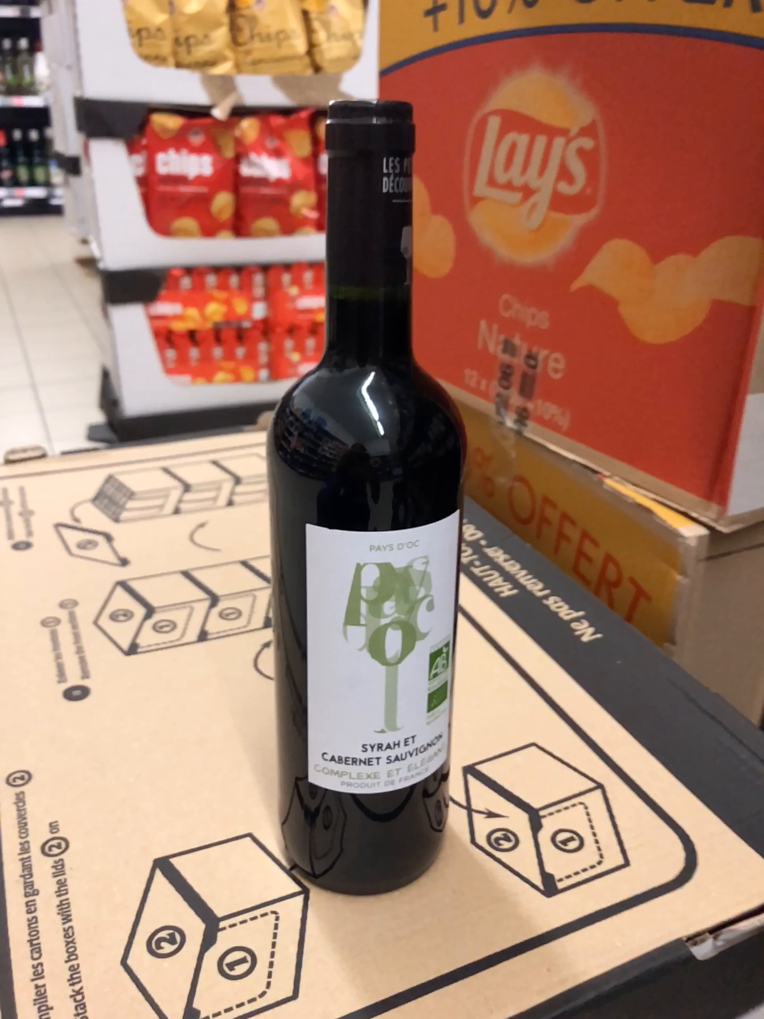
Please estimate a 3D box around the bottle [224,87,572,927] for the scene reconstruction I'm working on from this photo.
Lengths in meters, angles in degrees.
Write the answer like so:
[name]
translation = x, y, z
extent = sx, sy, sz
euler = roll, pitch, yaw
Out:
[bottle]
translation = -0.001, 0.008, 0.325
extent = 0.090, 0.298, 0.080
euler = -6, 24, -15
